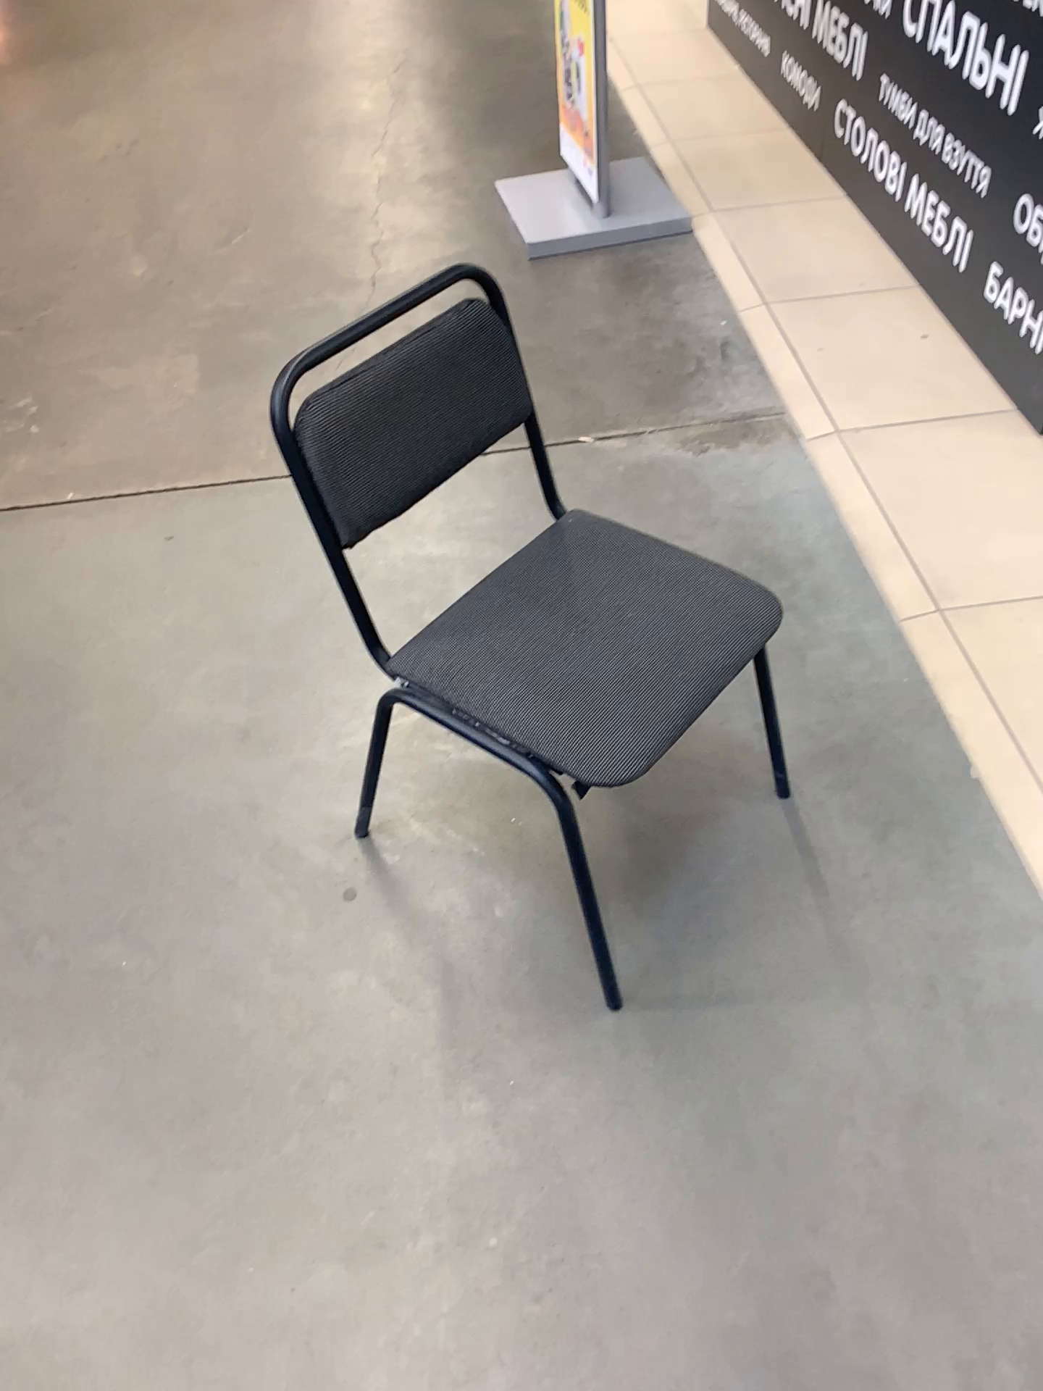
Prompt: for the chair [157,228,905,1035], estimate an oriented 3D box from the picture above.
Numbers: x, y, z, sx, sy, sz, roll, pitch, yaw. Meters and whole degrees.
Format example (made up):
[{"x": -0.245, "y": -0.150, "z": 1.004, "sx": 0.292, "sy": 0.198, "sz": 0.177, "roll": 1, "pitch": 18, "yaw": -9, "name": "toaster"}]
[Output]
[{"x": 0.027, "y": -0.098, "z": 1.450, "sx": 0.632, "sy": 0.737, "sz": 0.551, "roll": 31, "pitch": 56, "yaw": 30, "name": "chair"}]
